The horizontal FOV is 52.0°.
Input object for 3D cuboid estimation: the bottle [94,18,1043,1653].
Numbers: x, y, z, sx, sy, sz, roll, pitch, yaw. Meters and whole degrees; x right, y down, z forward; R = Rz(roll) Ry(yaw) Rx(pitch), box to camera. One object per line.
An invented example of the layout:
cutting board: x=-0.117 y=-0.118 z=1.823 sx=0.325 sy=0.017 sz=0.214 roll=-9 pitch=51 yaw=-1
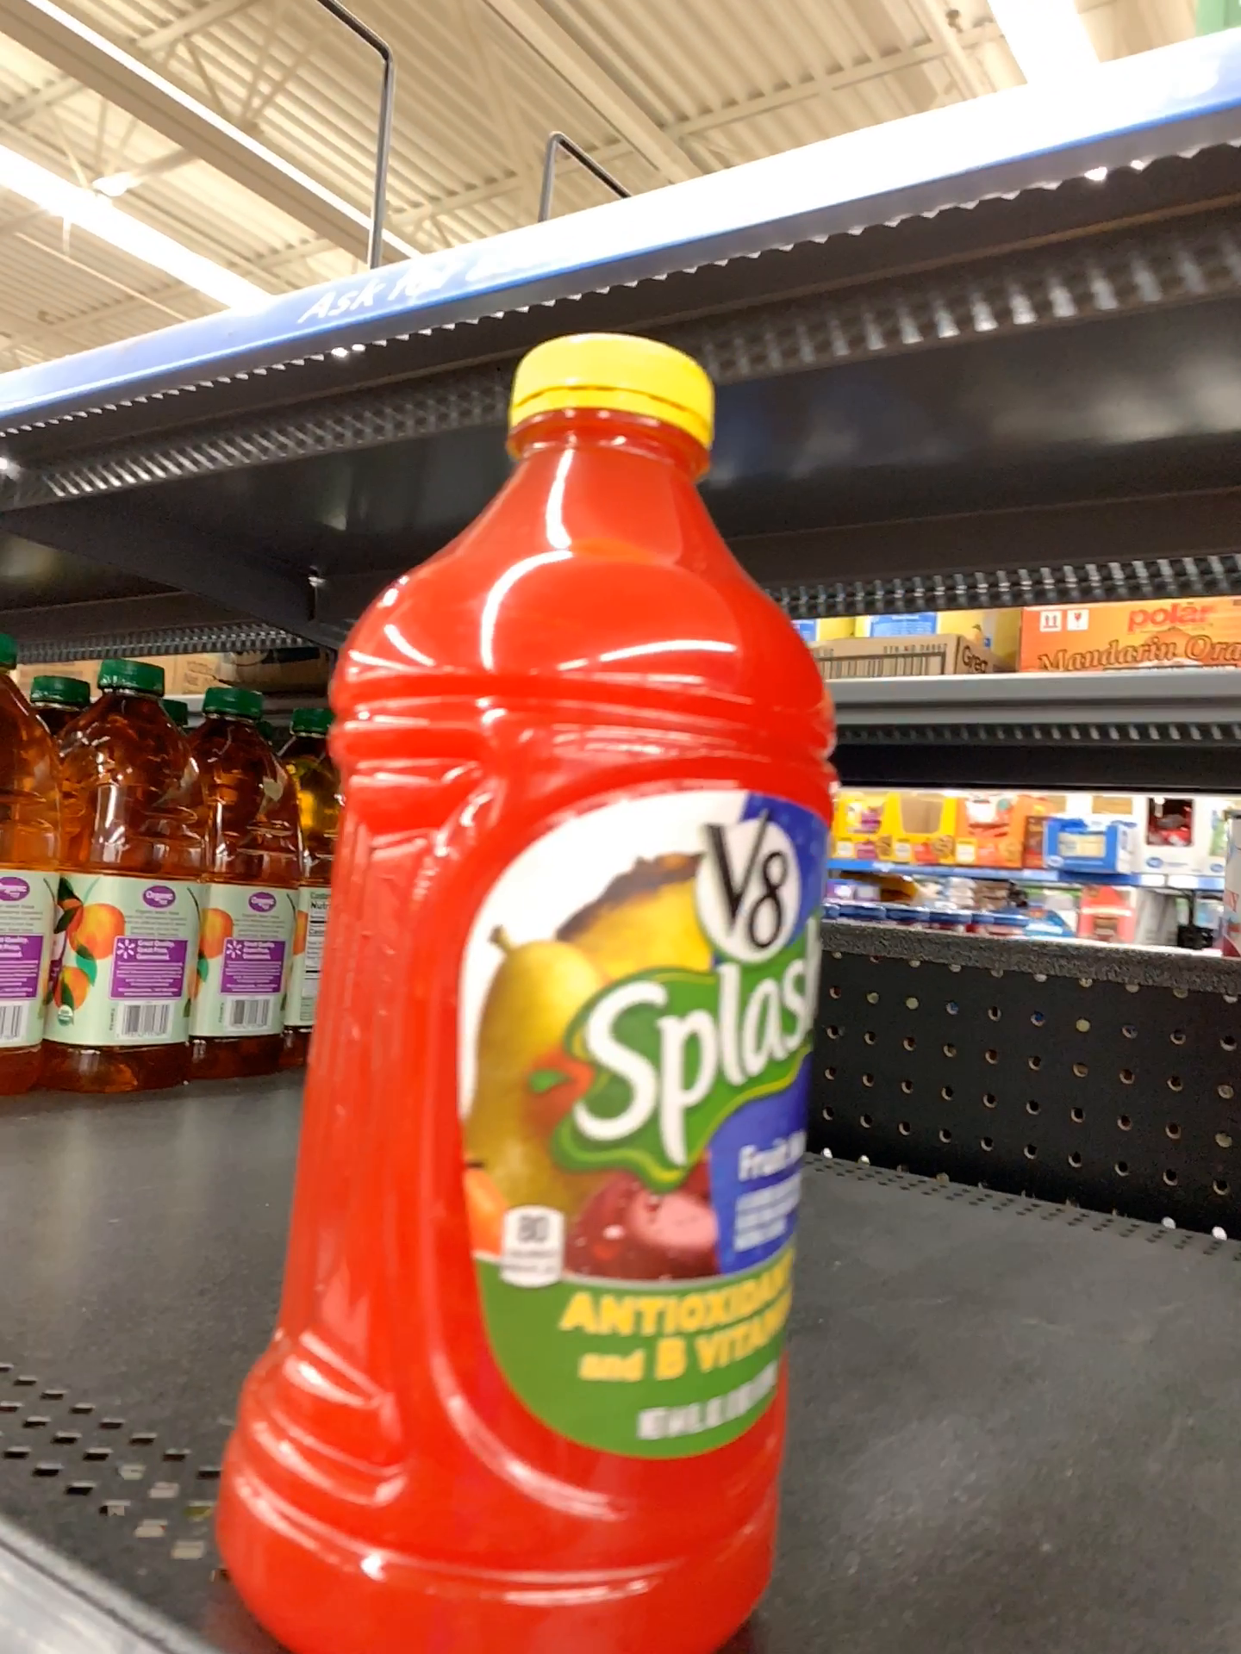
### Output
bottle: x=-0.009 y=0.015 z=0.276 sx=0.140 sy=0.265 sz=0.122 roll=7 pitch=-4 yaw=-41
